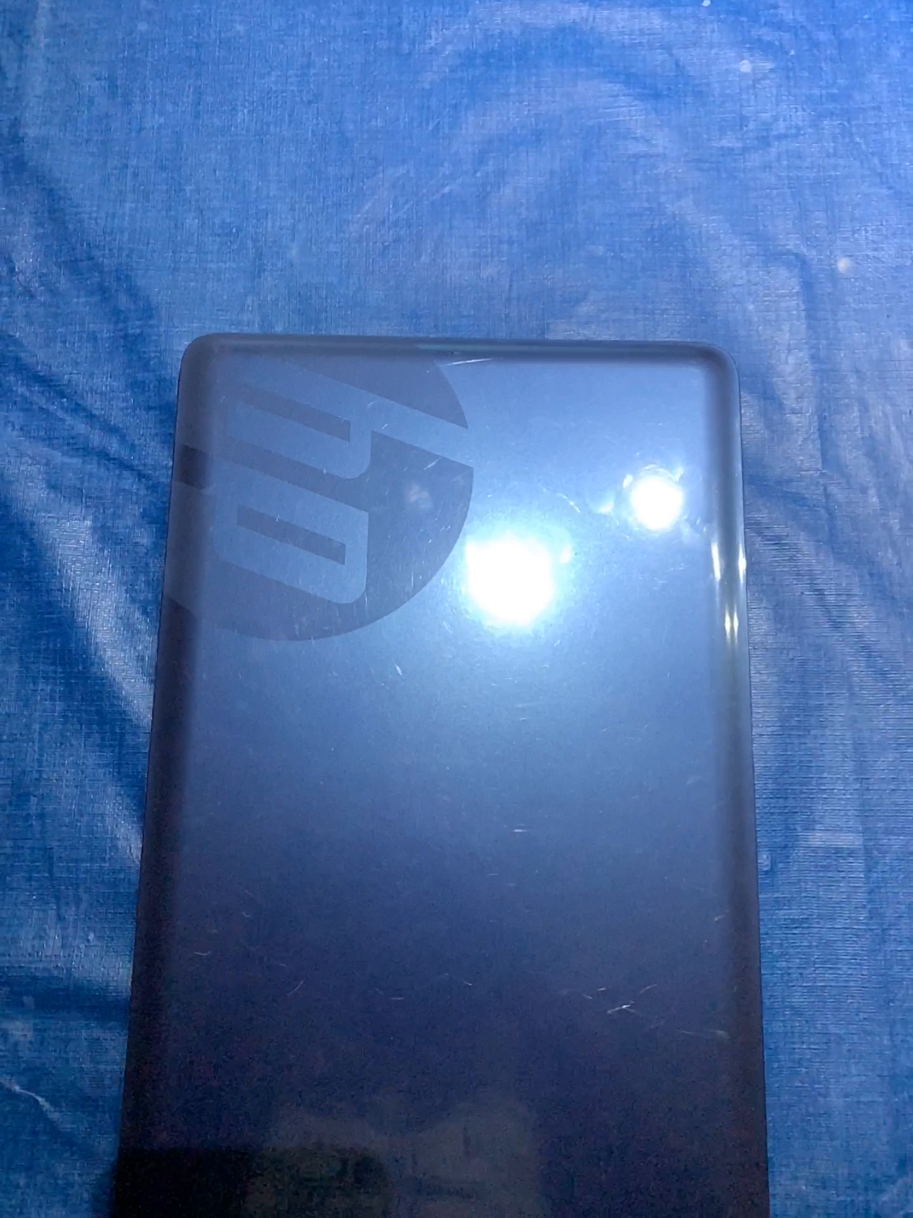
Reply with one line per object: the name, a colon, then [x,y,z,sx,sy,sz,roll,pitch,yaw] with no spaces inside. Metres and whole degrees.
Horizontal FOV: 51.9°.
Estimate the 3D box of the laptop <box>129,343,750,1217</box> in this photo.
laptop: [-0.002,0.066,0.388,0.235,0.009,0.363,1,81,-1]
